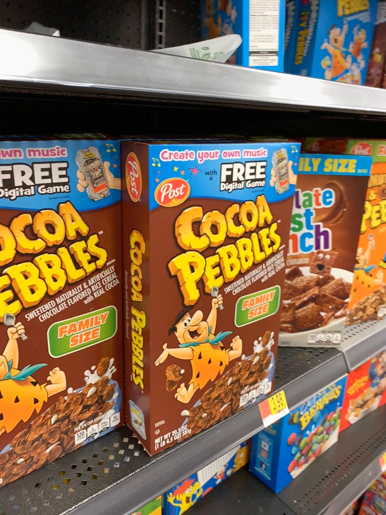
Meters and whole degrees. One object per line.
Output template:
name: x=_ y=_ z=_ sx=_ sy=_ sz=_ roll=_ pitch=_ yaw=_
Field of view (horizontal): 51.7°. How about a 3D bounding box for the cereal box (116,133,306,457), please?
cereal box: x=0.020 y=0.032 z=0.456 sx=0.200 sy=0.329 sz=0.060 roll=-11 pitch=23 yaw=-35
